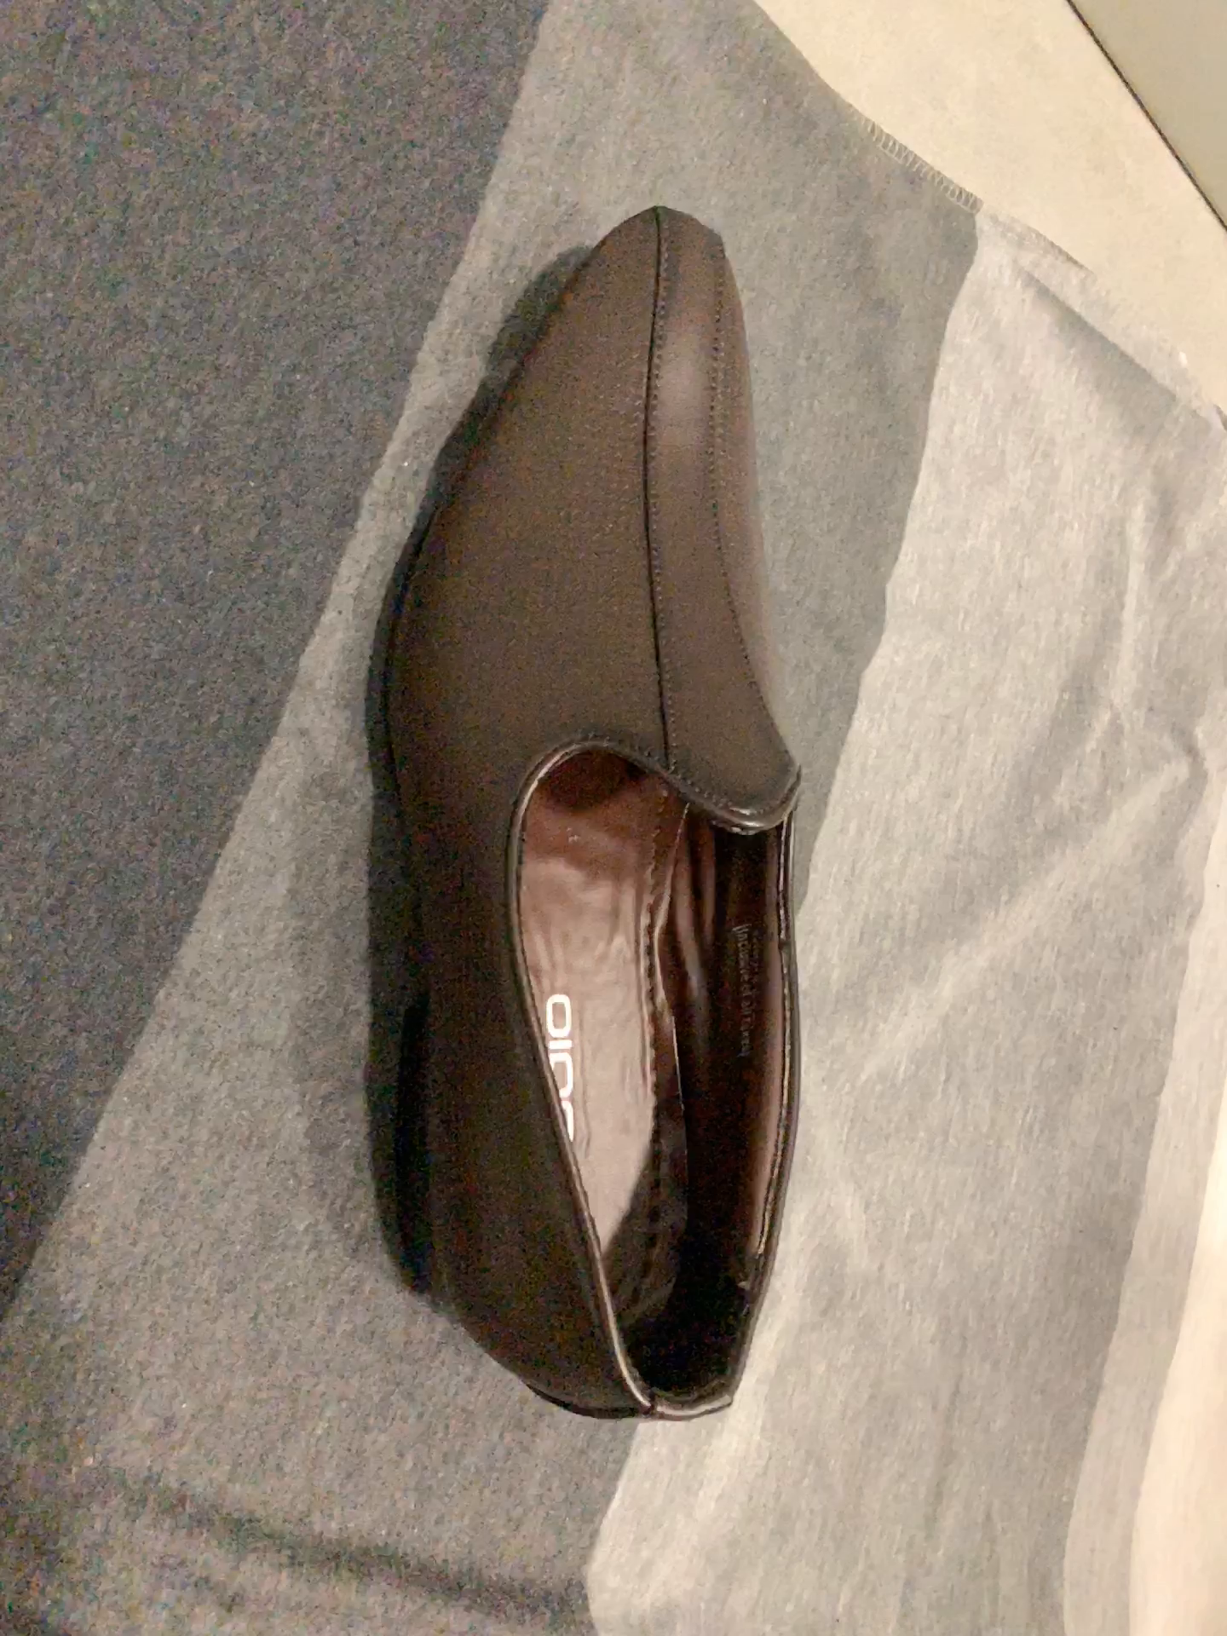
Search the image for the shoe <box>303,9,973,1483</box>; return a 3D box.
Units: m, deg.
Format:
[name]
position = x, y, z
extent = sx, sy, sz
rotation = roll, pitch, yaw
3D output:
[shoe]
position = 0.004, -0.012, 0.295
extent = 0.100, 0.100, 0.270
rotation = 8, 83, -28
